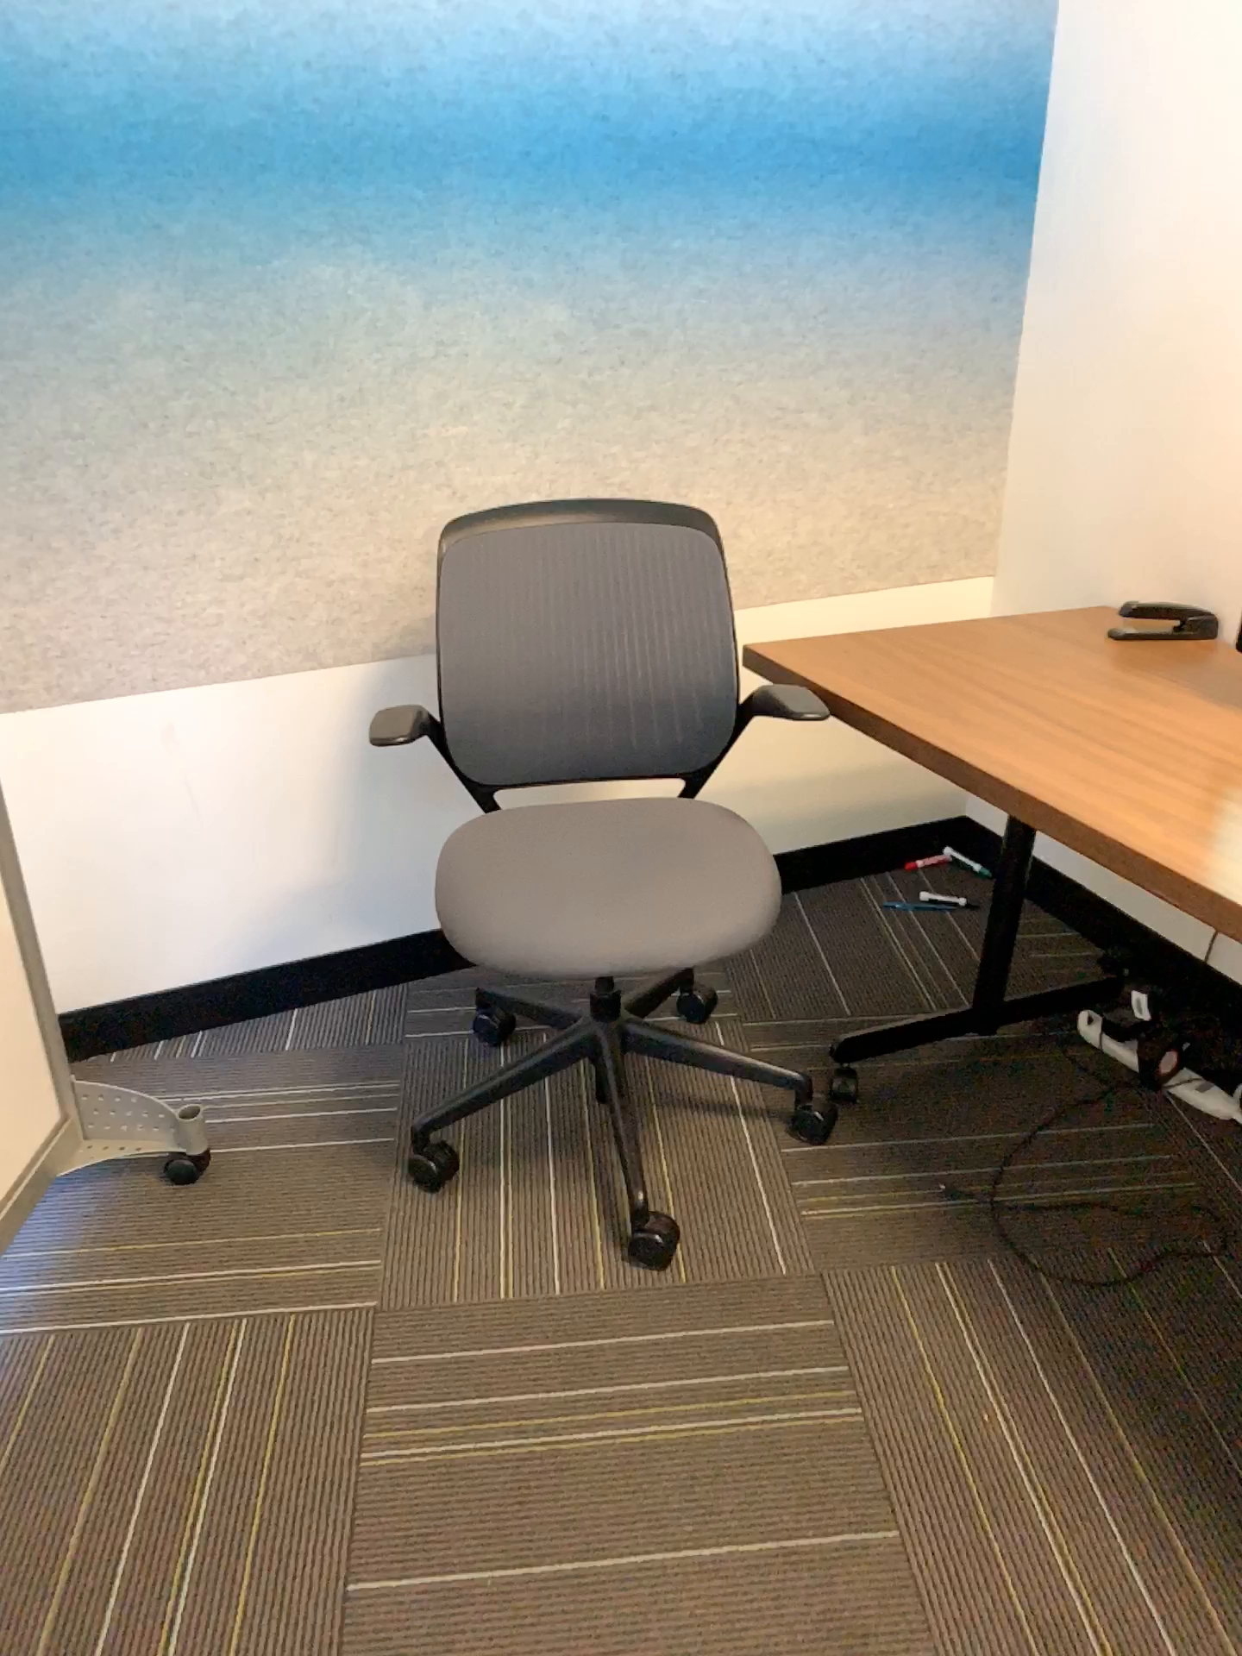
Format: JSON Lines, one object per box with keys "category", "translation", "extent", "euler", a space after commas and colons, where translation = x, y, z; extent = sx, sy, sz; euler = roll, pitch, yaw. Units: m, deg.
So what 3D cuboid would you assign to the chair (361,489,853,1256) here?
{"category": "chair", "translation": [-0.024, 0.038, 1.814], "extent": [0.540, 0.935, 0.533], "euler": [-2, 22, -3]}
